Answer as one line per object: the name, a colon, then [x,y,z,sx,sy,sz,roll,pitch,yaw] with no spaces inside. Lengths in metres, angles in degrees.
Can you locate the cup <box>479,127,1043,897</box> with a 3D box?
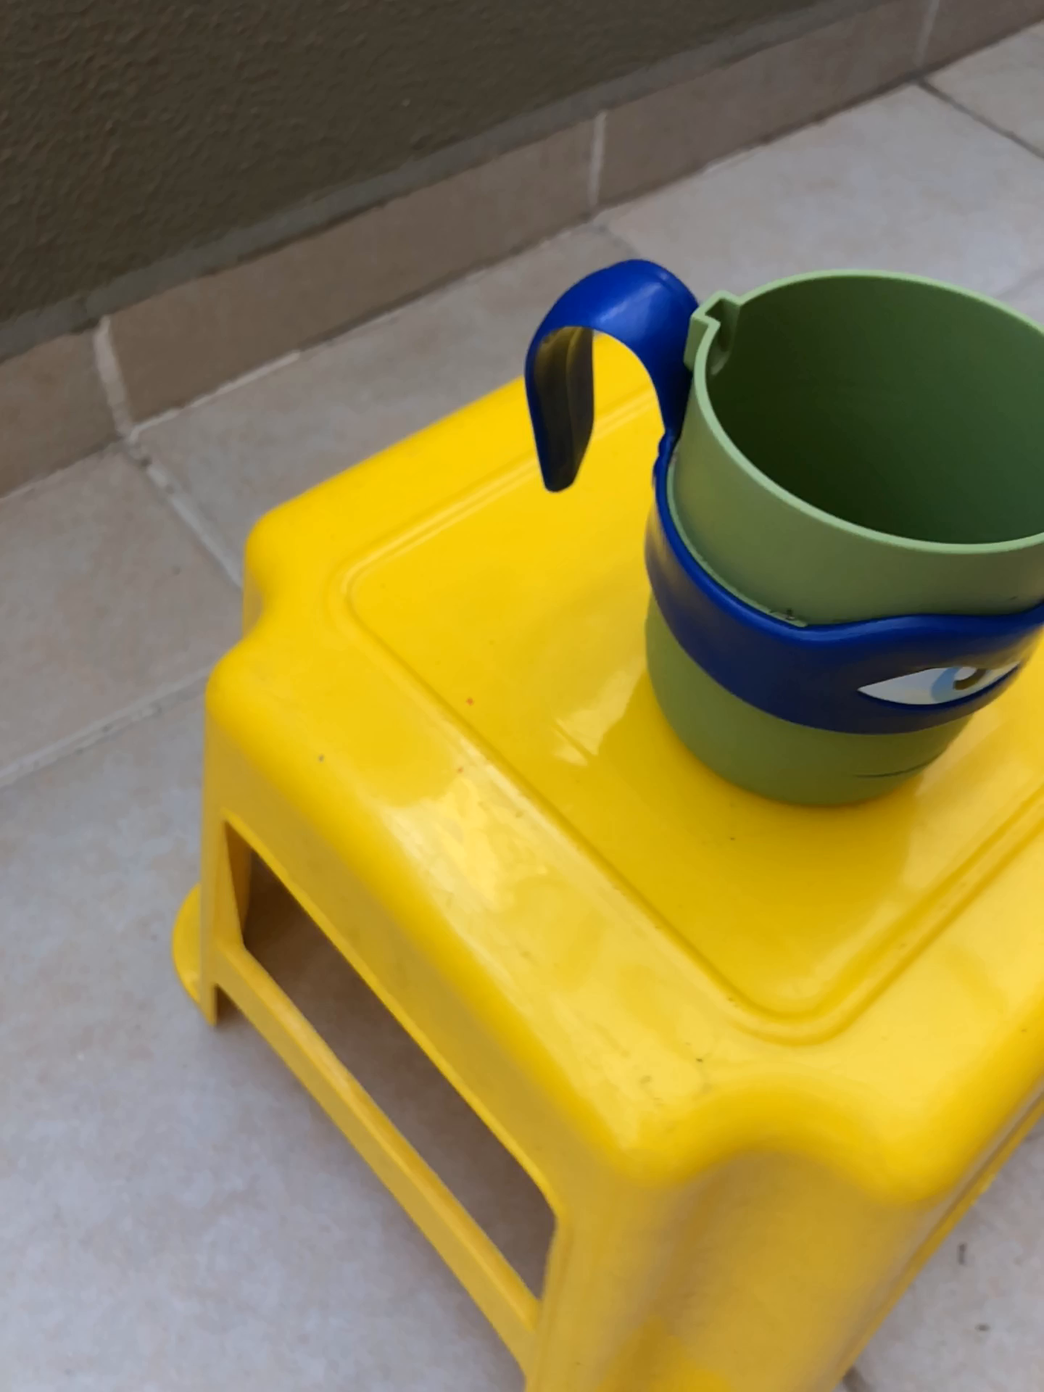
cup: [0.059,-0.039,0.242,0.110,0.089,0.080,33,59,20]
